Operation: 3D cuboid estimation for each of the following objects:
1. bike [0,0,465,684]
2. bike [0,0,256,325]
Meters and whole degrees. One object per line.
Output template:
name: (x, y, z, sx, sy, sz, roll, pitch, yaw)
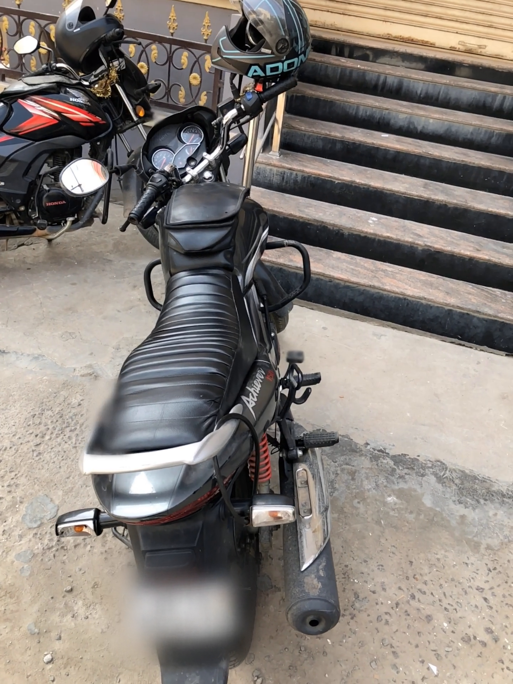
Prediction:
bike: (-0.310, -0.221, 1.630, 0.746, 1.156, 1.745, 3, 35, -10)
bike: (-0.923, -0.845, 2.567, 1.602, 1.056, 0.685, -15, 39, -36)
